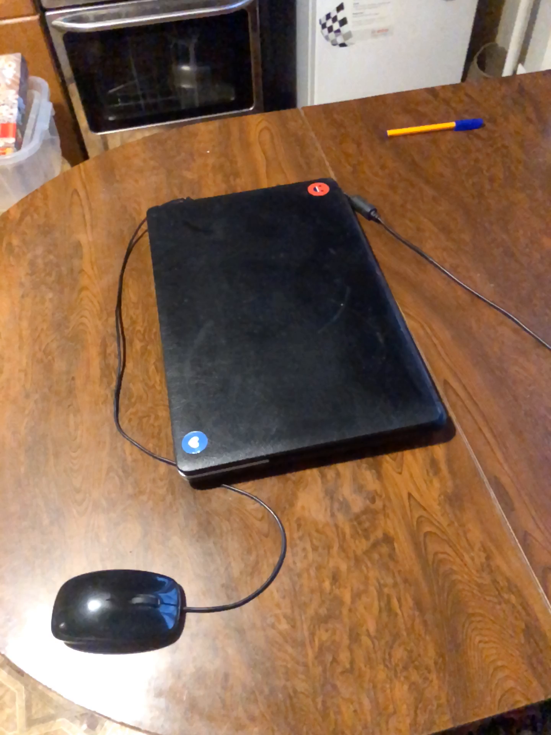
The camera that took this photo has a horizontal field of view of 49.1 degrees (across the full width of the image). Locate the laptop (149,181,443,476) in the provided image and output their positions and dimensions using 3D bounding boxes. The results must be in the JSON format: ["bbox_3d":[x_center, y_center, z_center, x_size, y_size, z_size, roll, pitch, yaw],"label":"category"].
[{"bbox_3d":[-0.002,-0.070,0.656,0.238,0.007,0.367,-12,54,-4],"label":"laptop"}]
